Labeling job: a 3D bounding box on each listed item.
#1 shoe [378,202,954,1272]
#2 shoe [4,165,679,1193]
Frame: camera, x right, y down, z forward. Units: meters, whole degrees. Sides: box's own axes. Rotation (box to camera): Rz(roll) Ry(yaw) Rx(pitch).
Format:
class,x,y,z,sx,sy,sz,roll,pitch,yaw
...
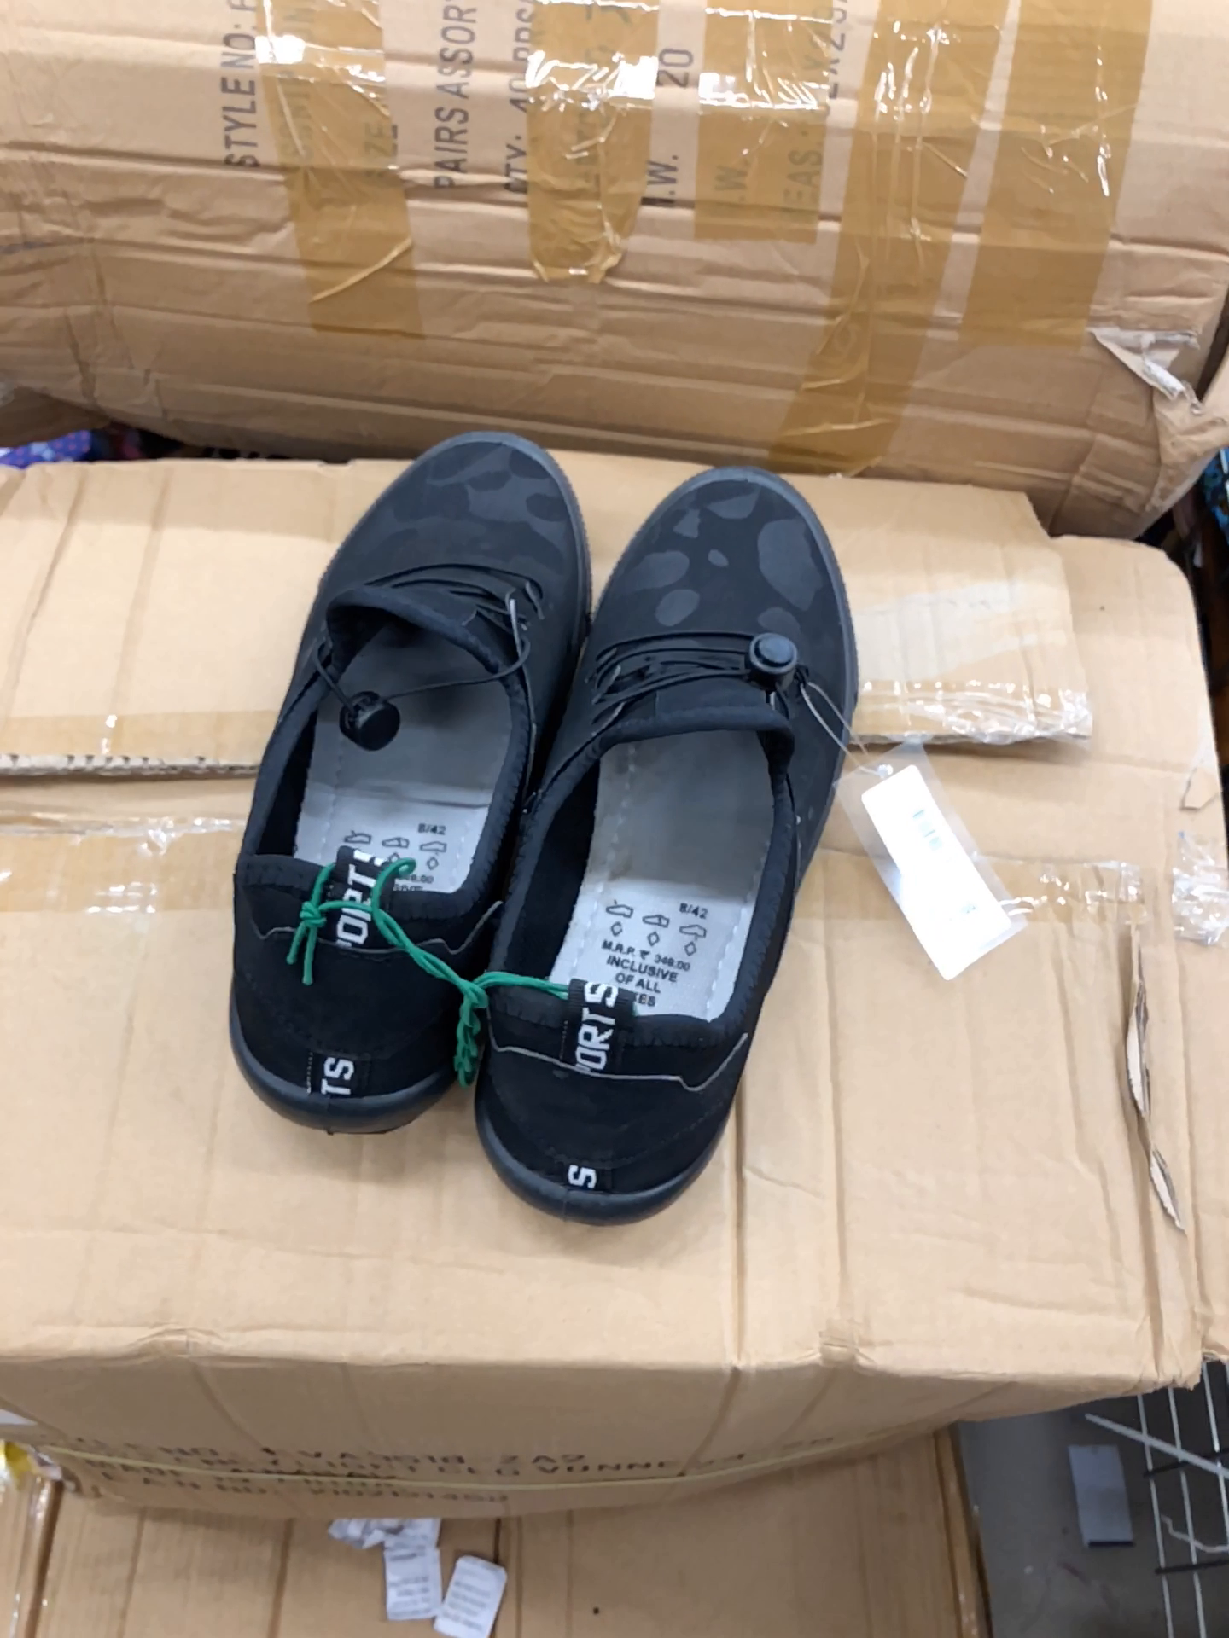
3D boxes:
class,x,y,z,sx,sy,sz,roll,pitch,yaw
shoe,0.029,-0.039,0.449,0.120,0.129,0.322,10,59,3
shoe,-0.062,-0.057,0.452,0.120,0.129,0.312,9,59,2
